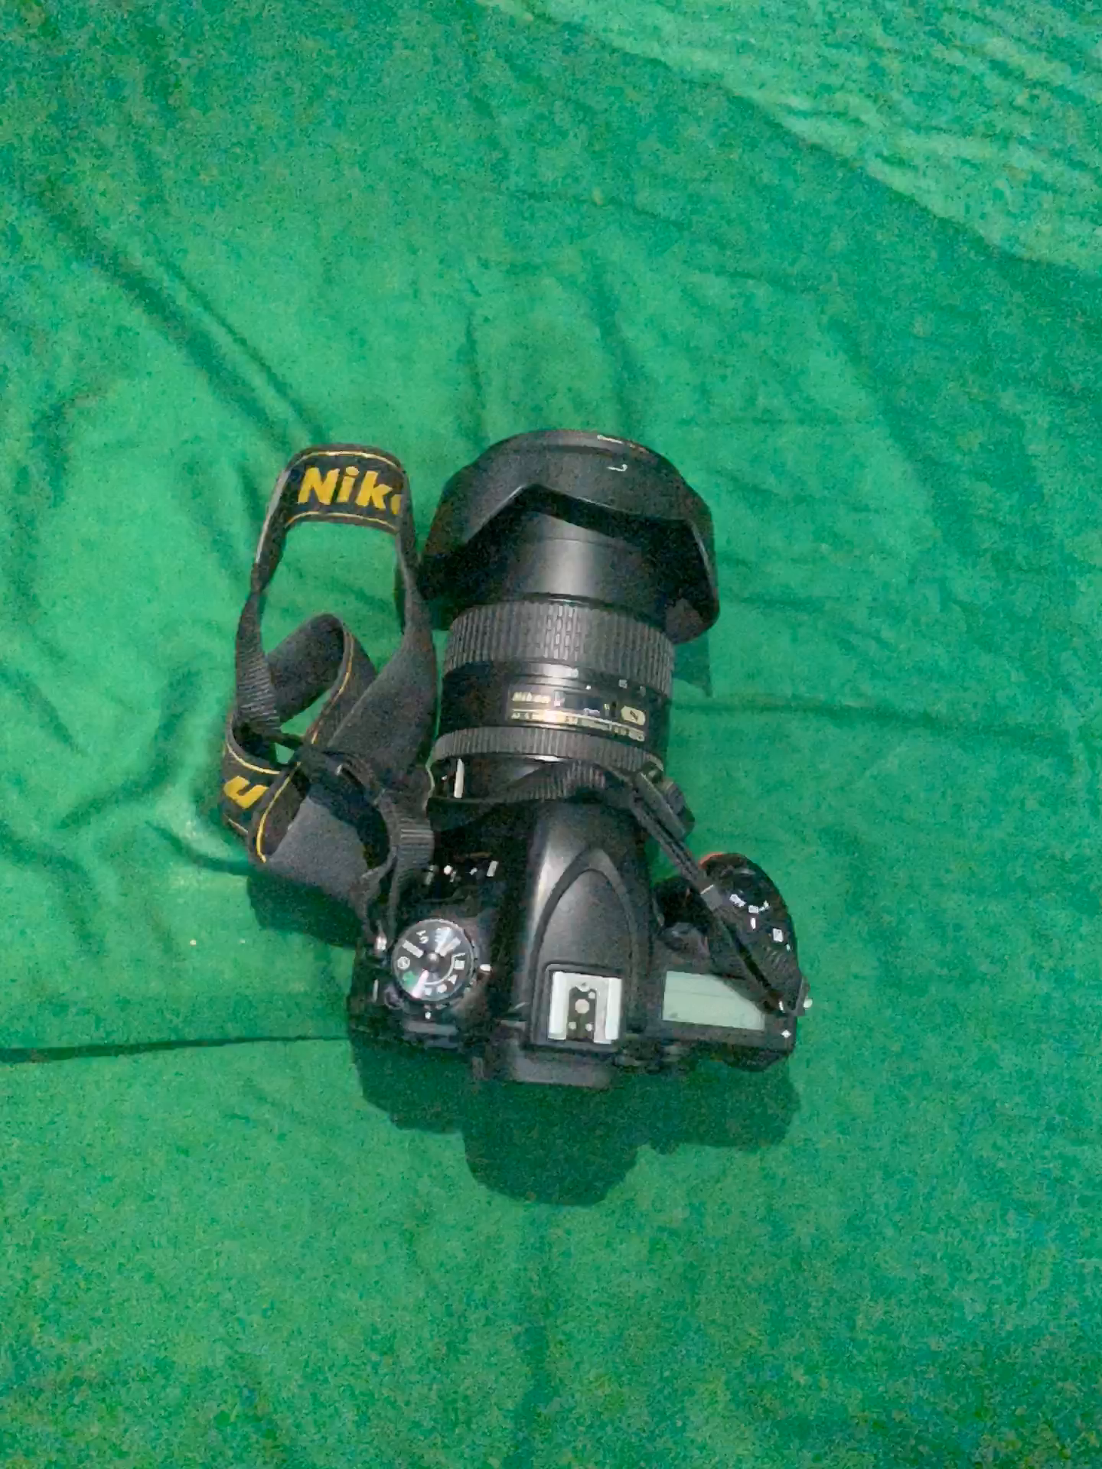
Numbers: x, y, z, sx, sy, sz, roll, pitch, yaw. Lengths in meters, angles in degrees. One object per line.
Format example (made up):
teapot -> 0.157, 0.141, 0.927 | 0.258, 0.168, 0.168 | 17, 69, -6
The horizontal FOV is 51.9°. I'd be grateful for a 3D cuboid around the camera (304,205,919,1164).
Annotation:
camera -> 0.027, -0.013, 0.402 | 0.170, 0.100, 0.290 | 11, 71, -13
